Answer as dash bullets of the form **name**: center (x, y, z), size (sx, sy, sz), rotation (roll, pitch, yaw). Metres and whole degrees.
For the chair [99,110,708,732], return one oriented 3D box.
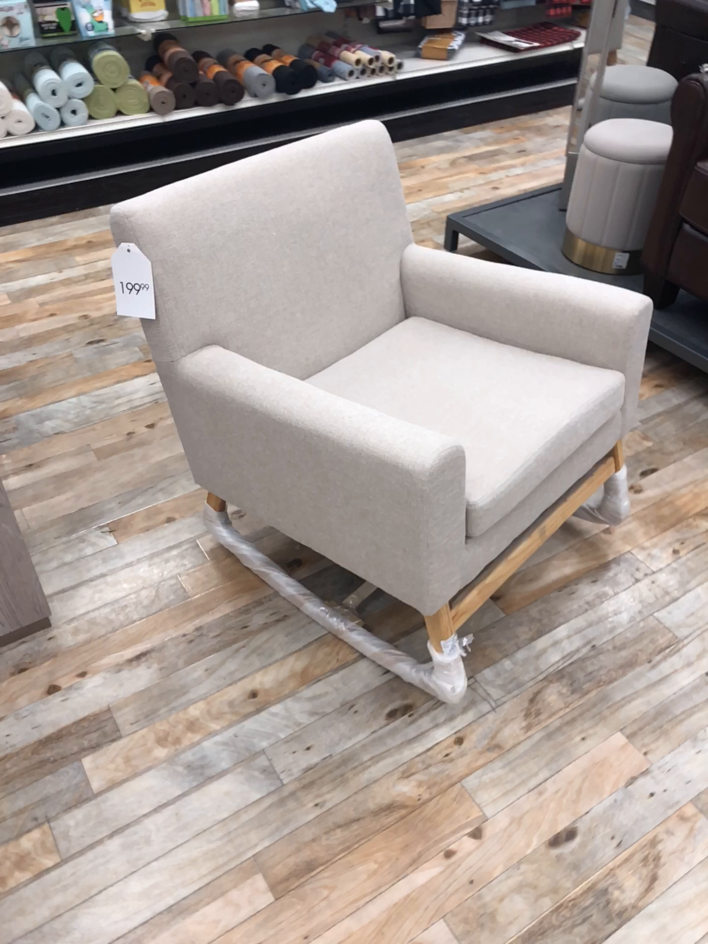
- **chair**: center (0.096, -0.159, 1.487), size (0.741, 0.707, 0.701), rotation (32, 49, 31)
